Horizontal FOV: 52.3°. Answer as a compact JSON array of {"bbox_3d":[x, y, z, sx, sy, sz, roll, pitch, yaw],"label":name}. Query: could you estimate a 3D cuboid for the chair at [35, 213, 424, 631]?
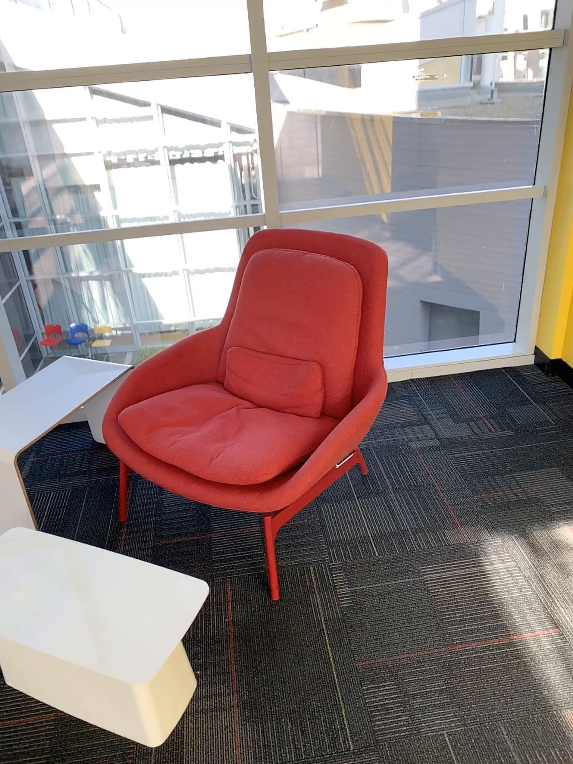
[{"bbox_3d":[-0.102,0.033,2.092,0.872,0.994,0.923,12,33,28],"label":"chair"}]
